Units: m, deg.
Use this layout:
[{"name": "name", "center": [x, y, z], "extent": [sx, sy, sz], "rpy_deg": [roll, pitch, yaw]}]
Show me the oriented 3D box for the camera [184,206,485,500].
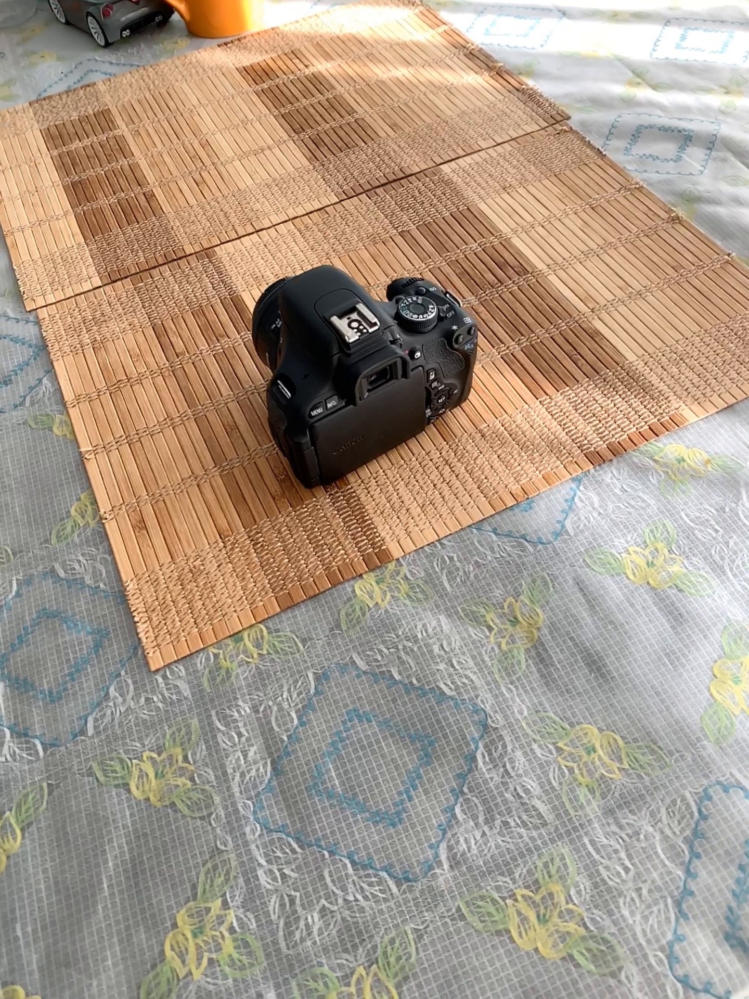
[{"name": "camera", "center": [-0.021, -0.090, 0.459], "extent": [0.133, 0.080, 0.106], "rpy_deg": [-30, 57, -15]}]
